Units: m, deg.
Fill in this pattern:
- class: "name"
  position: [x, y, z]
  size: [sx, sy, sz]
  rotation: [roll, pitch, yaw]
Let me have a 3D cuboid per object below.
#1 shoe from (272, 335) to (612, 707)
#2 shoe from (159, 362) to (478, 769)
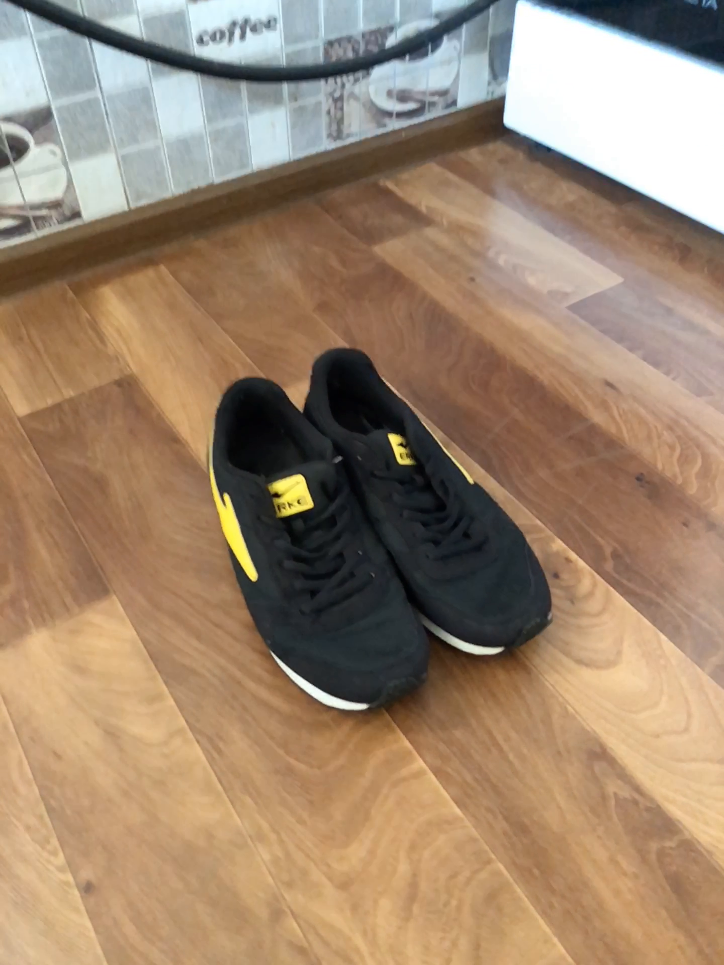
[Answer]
- class: "shoe"
  position: [0.045, 0.012, 0.625]
  size: [0.110, 0.079, 0.302]
  rotation: [-22, 50, -19]
- class: "shoe"
  position: [-0.046, 0.041, 0.591]
  size: [0.110, 0.079, 0.302]
  rotation: [-21, 50, -18]
